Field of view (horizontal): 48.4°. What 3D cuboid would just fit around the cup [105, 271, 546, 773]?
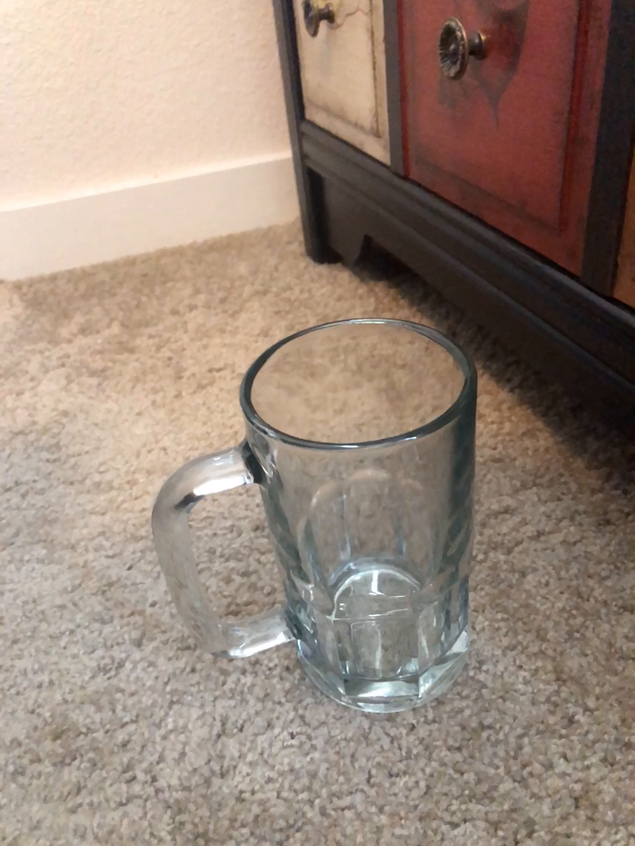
[{"bbox_3d":[0.002,0.040,0.300,0.133,0.155,0.097,-16,38,-13],"label":"cup"}]
